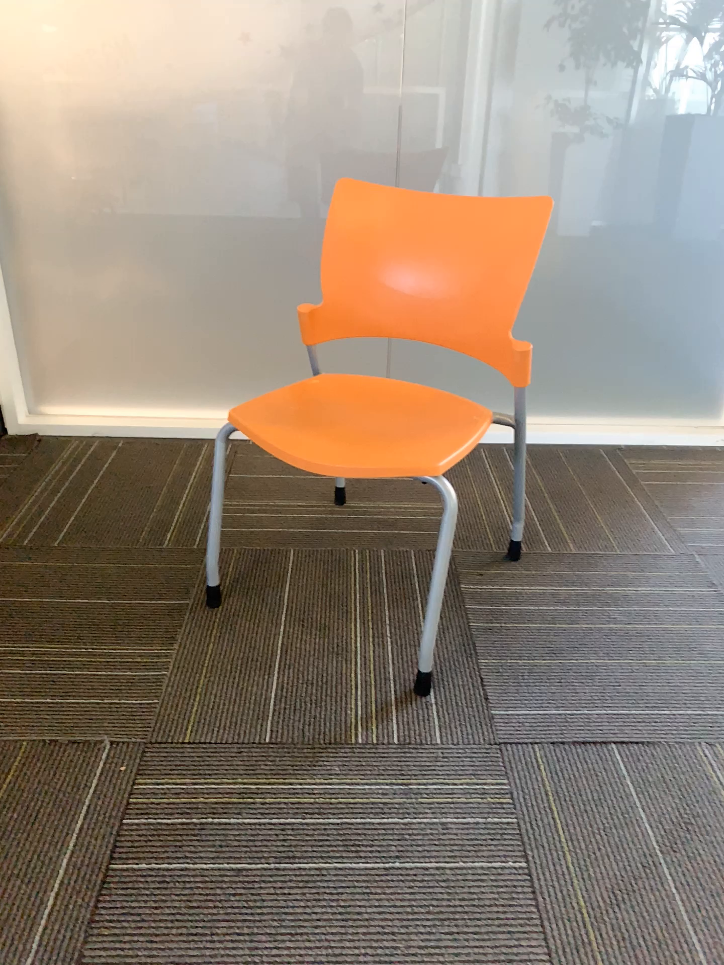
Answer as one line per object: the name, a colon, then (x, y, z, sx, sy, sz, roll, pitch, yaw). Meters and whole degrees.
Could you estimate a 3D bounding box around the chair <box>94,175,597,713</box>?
chair: (0.002, -0.163, 1.540, 0.681, 0.795, 0.683, 15, 30, 24)
